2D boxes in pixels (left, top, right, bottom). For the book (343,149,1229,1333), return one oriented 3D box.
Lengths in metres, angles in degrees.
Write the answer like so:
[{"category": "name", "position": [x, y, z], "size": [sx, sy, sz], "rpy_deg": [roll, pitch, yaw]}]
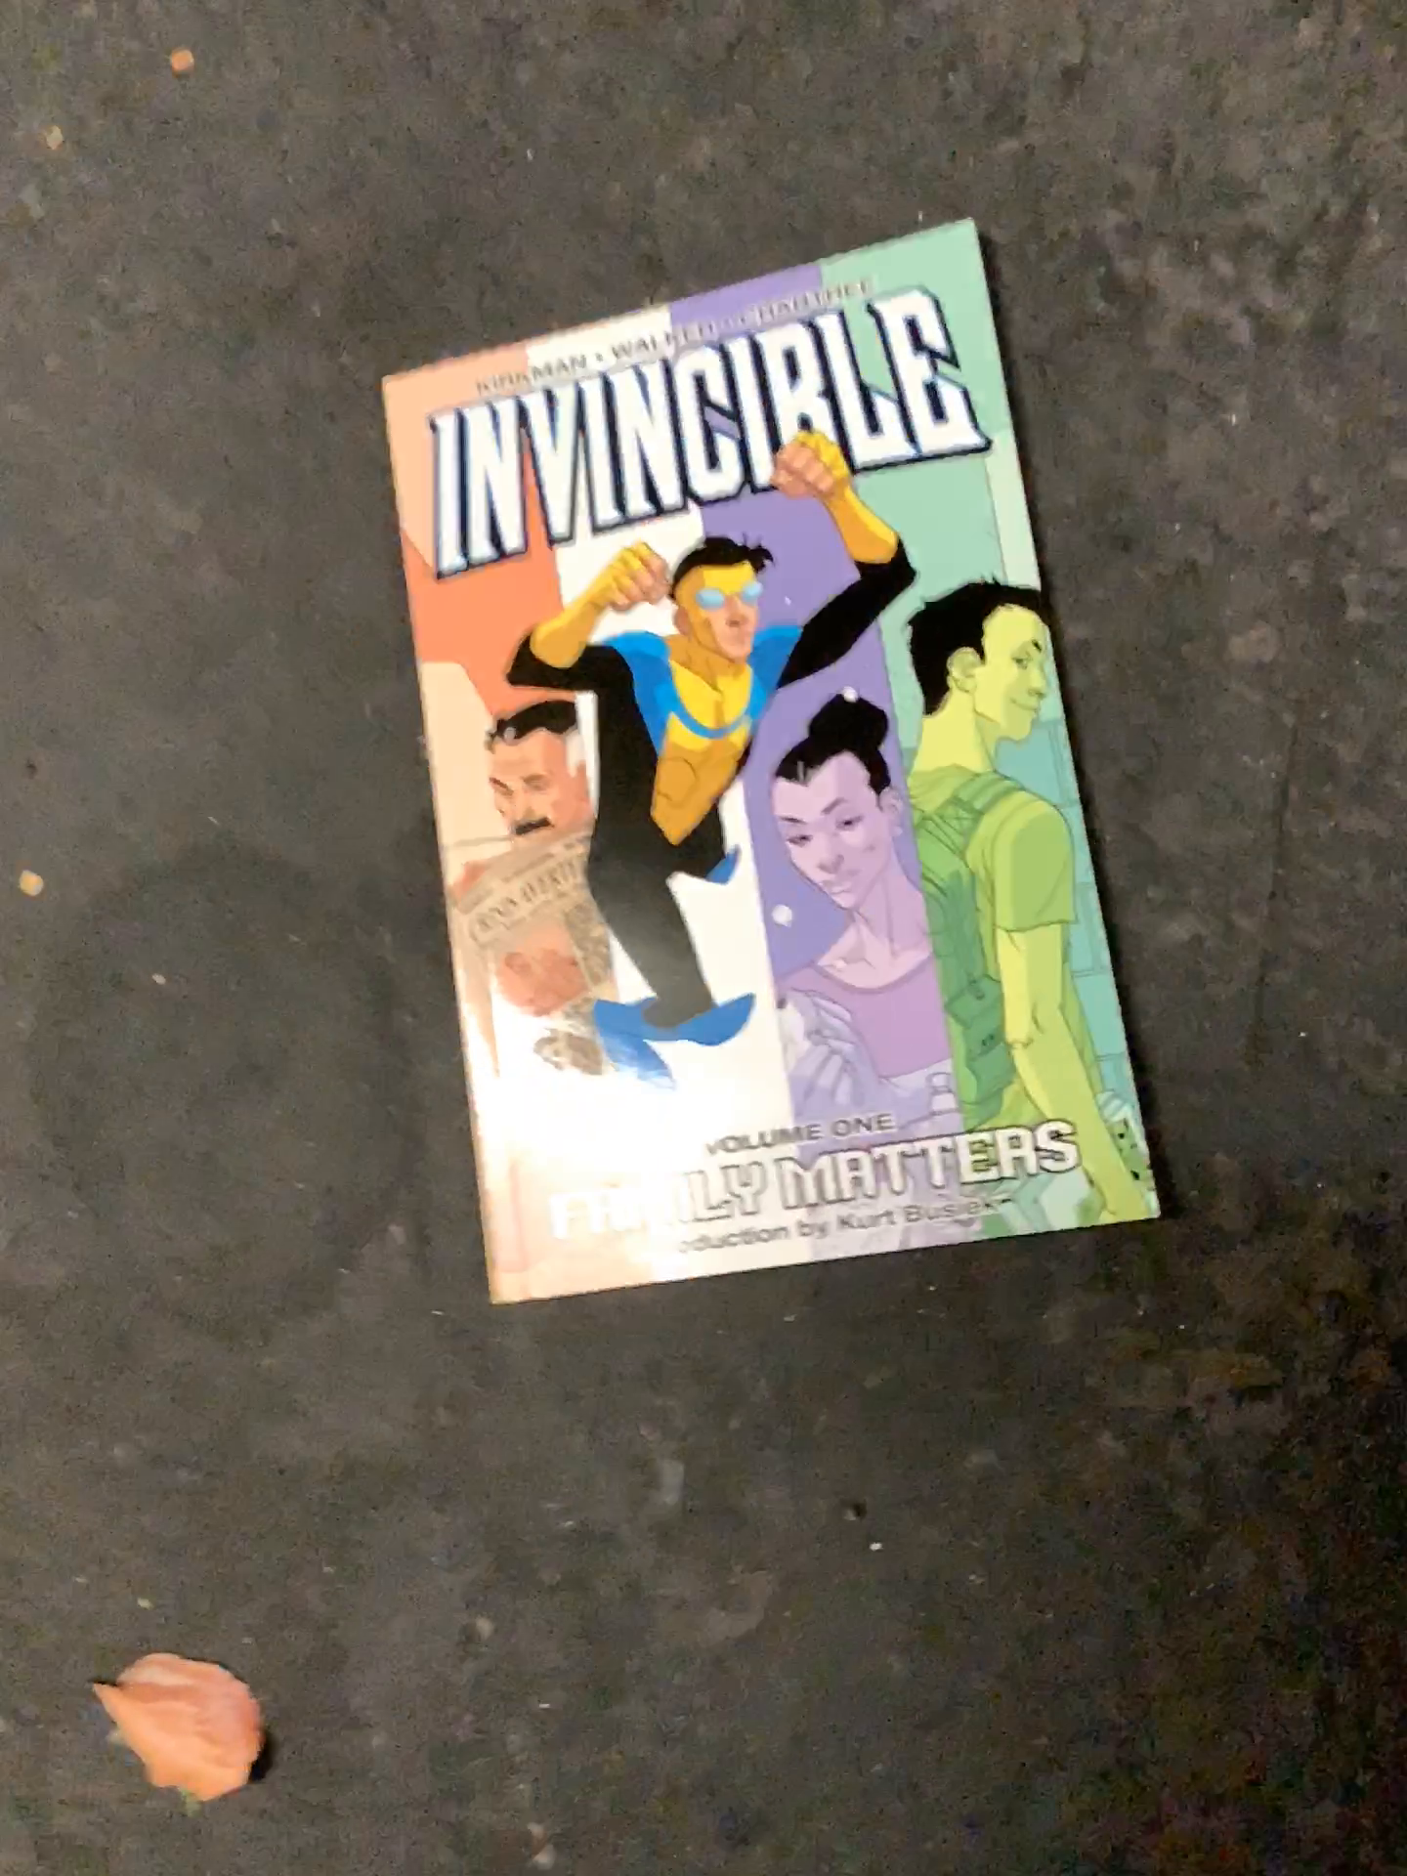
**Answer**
[{"category": "book", "position": [0.010, -0.051, 0.396], "size": [0.180, 0.020, 0.270], "rpy_deg": [-12, 78, 11]}]
